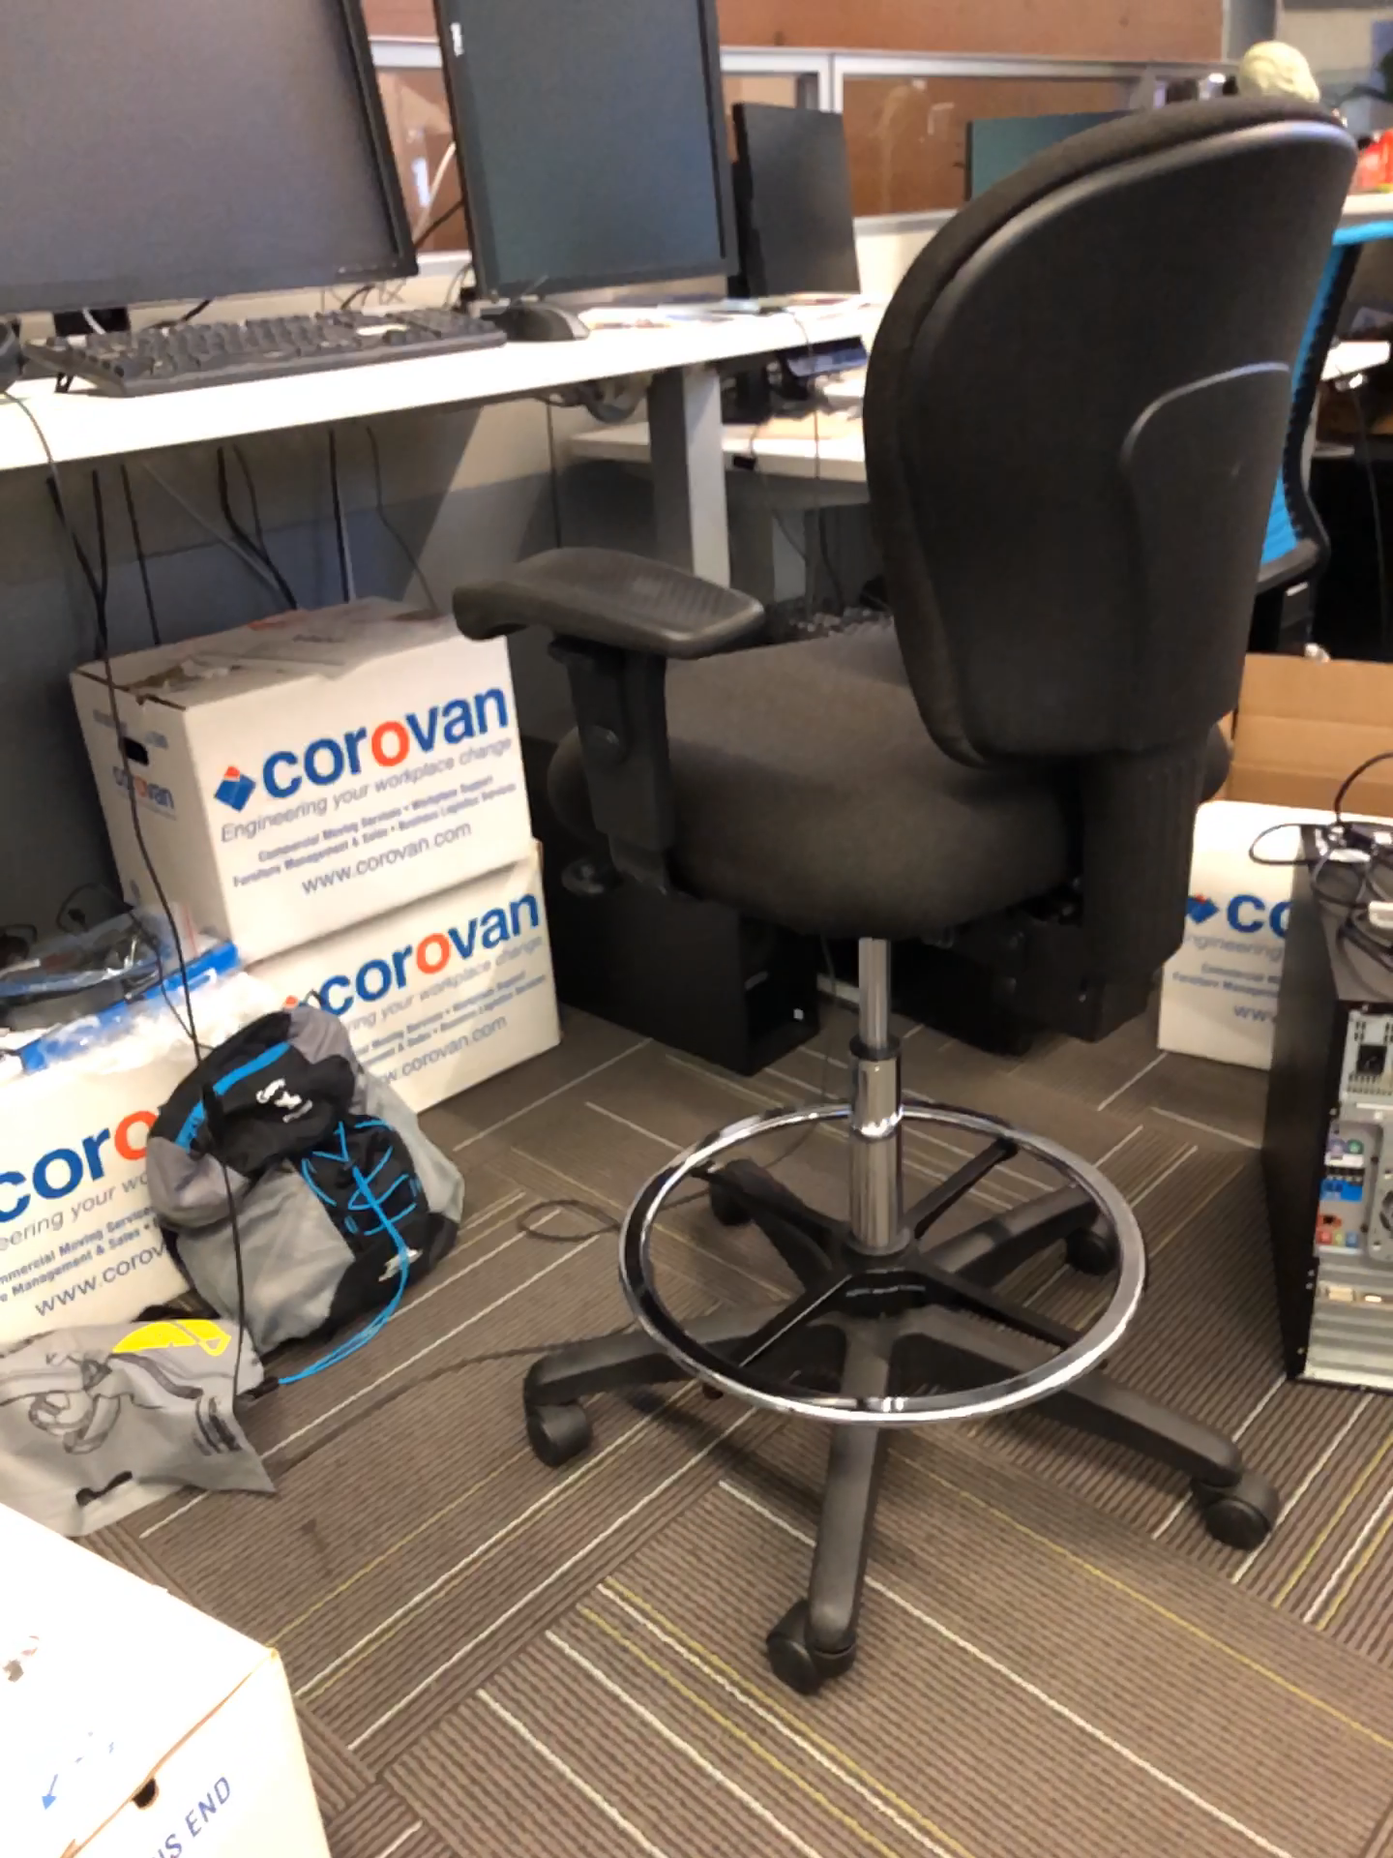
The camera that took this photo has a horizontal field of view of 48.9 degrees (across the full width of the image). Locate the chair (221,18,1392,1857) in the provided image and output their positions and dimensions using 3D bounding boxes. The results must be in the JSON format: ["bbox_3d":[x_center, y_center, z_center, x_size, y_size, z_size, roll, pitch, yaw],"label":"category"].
[{"bbox_3d":[0.170,-0.057,1.292,0.642,1.134,0.732,-24,31,-37],"label":"chair"}]
